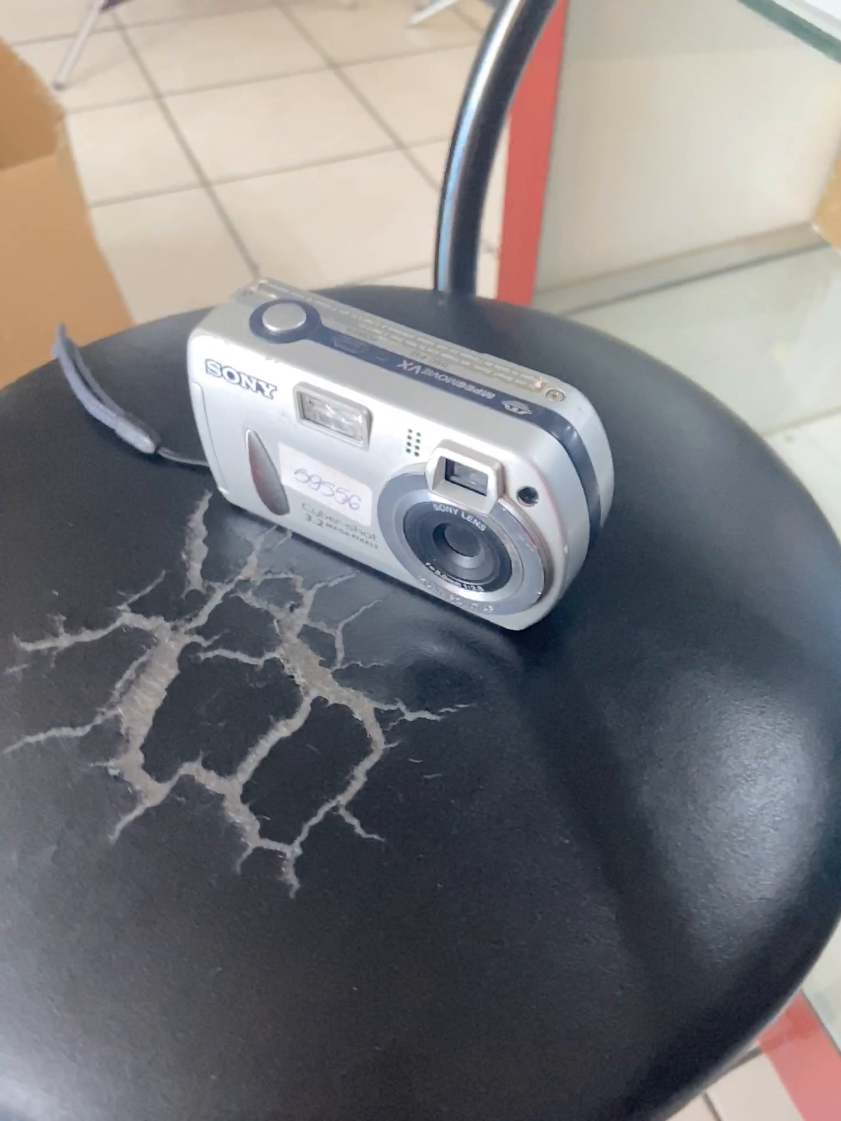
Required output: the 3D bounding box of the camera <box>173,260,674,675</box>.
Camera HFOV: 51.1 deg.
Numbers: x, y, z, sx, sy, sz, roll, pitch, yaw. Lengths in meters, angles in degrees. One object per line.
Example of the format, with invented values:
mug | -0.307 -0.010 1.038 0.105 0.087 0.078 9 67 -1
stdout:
camera | -0.001 -0.024 0.206 0.100 0.050 0.040 25 55 19
